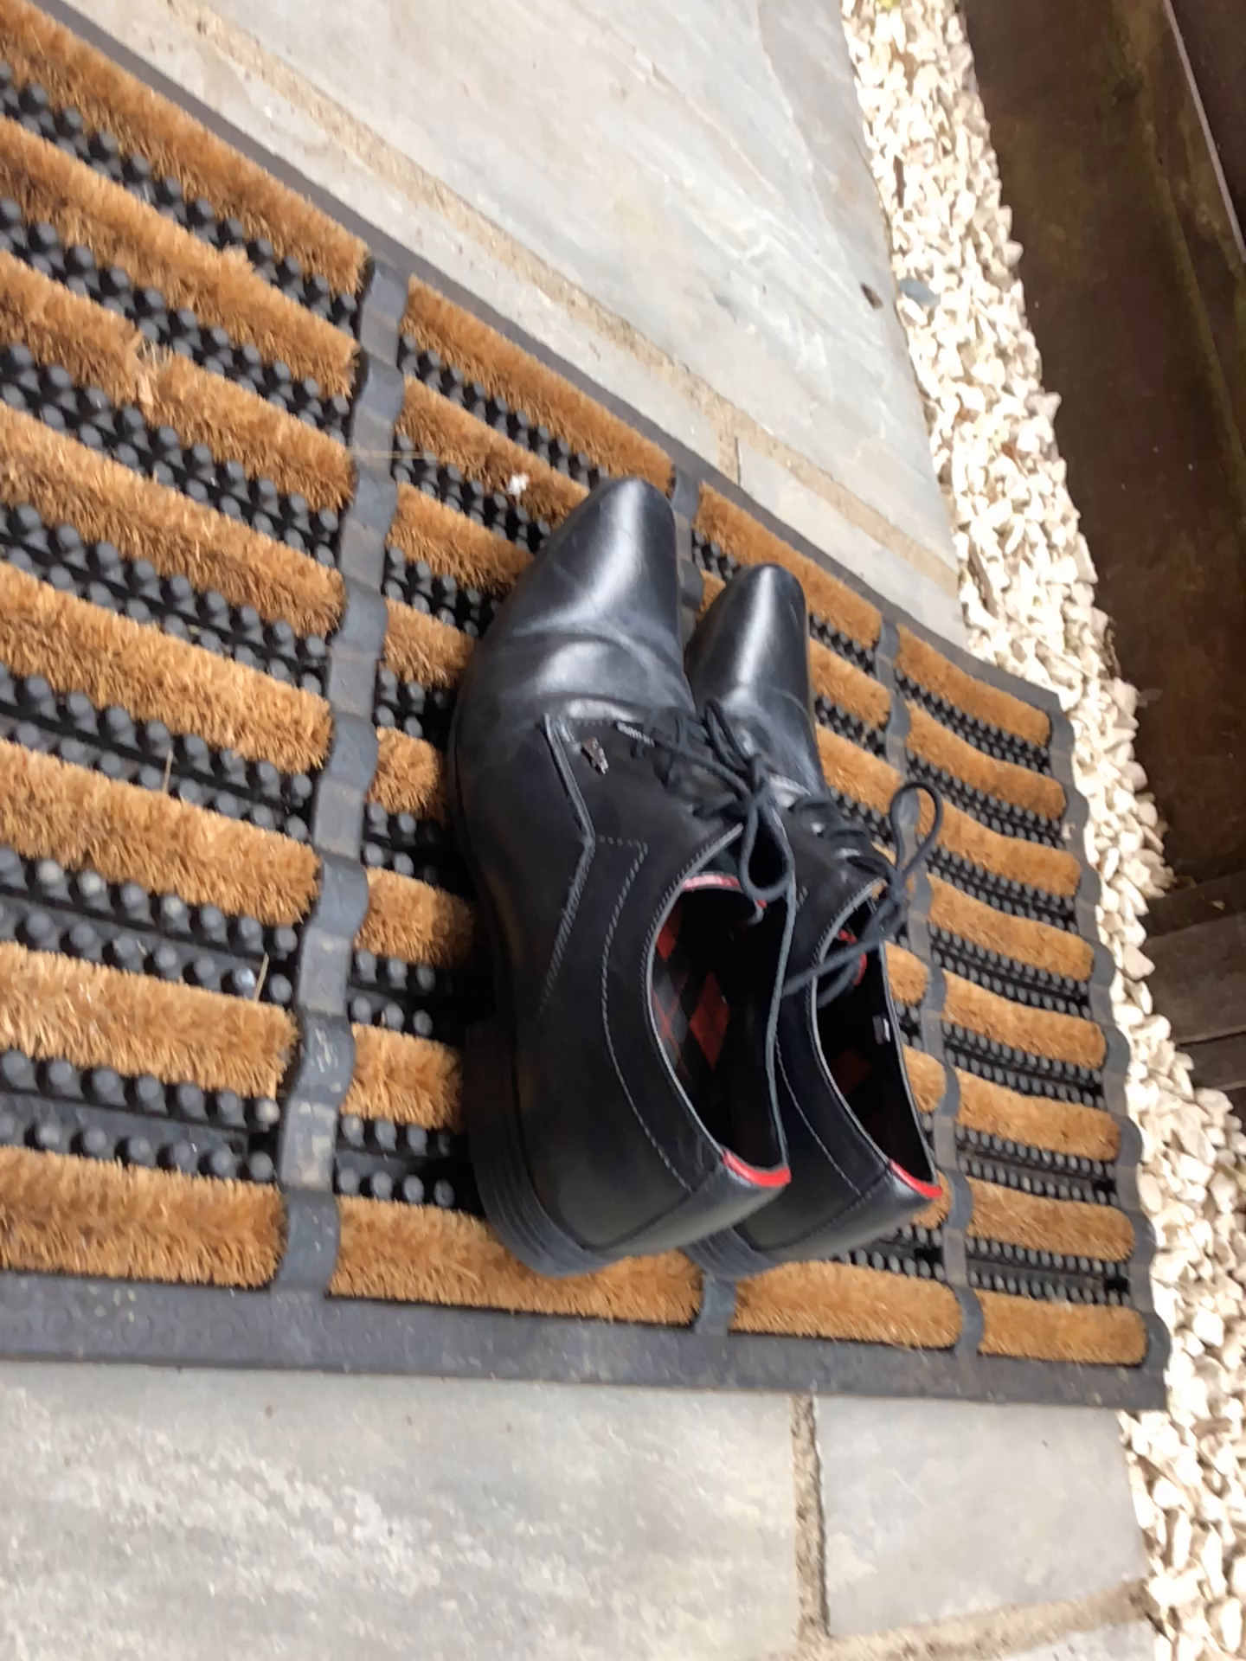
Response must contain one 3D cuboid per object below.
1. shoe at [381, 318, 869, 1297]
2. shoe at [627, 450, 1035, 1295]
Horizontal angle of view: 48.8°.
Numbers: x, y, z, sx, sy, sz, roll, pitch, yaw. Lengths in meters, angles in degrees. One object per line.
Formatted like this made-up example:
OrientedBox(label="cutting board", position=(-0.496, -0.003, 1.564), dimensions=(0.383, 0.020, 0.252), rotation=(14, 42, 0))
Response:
OrientedBox(label="shoe", position=(0.001, -0.009, 0.465), dimensions=(0.100, 0.099, 0.301), rotation=(25, 54, -41))
OrientedBox(label="shoe", position=(0.072, 0.015, 0.539), dimensions=(0.100, 0.099, 0.301), rotation=(25, 54, -41))
